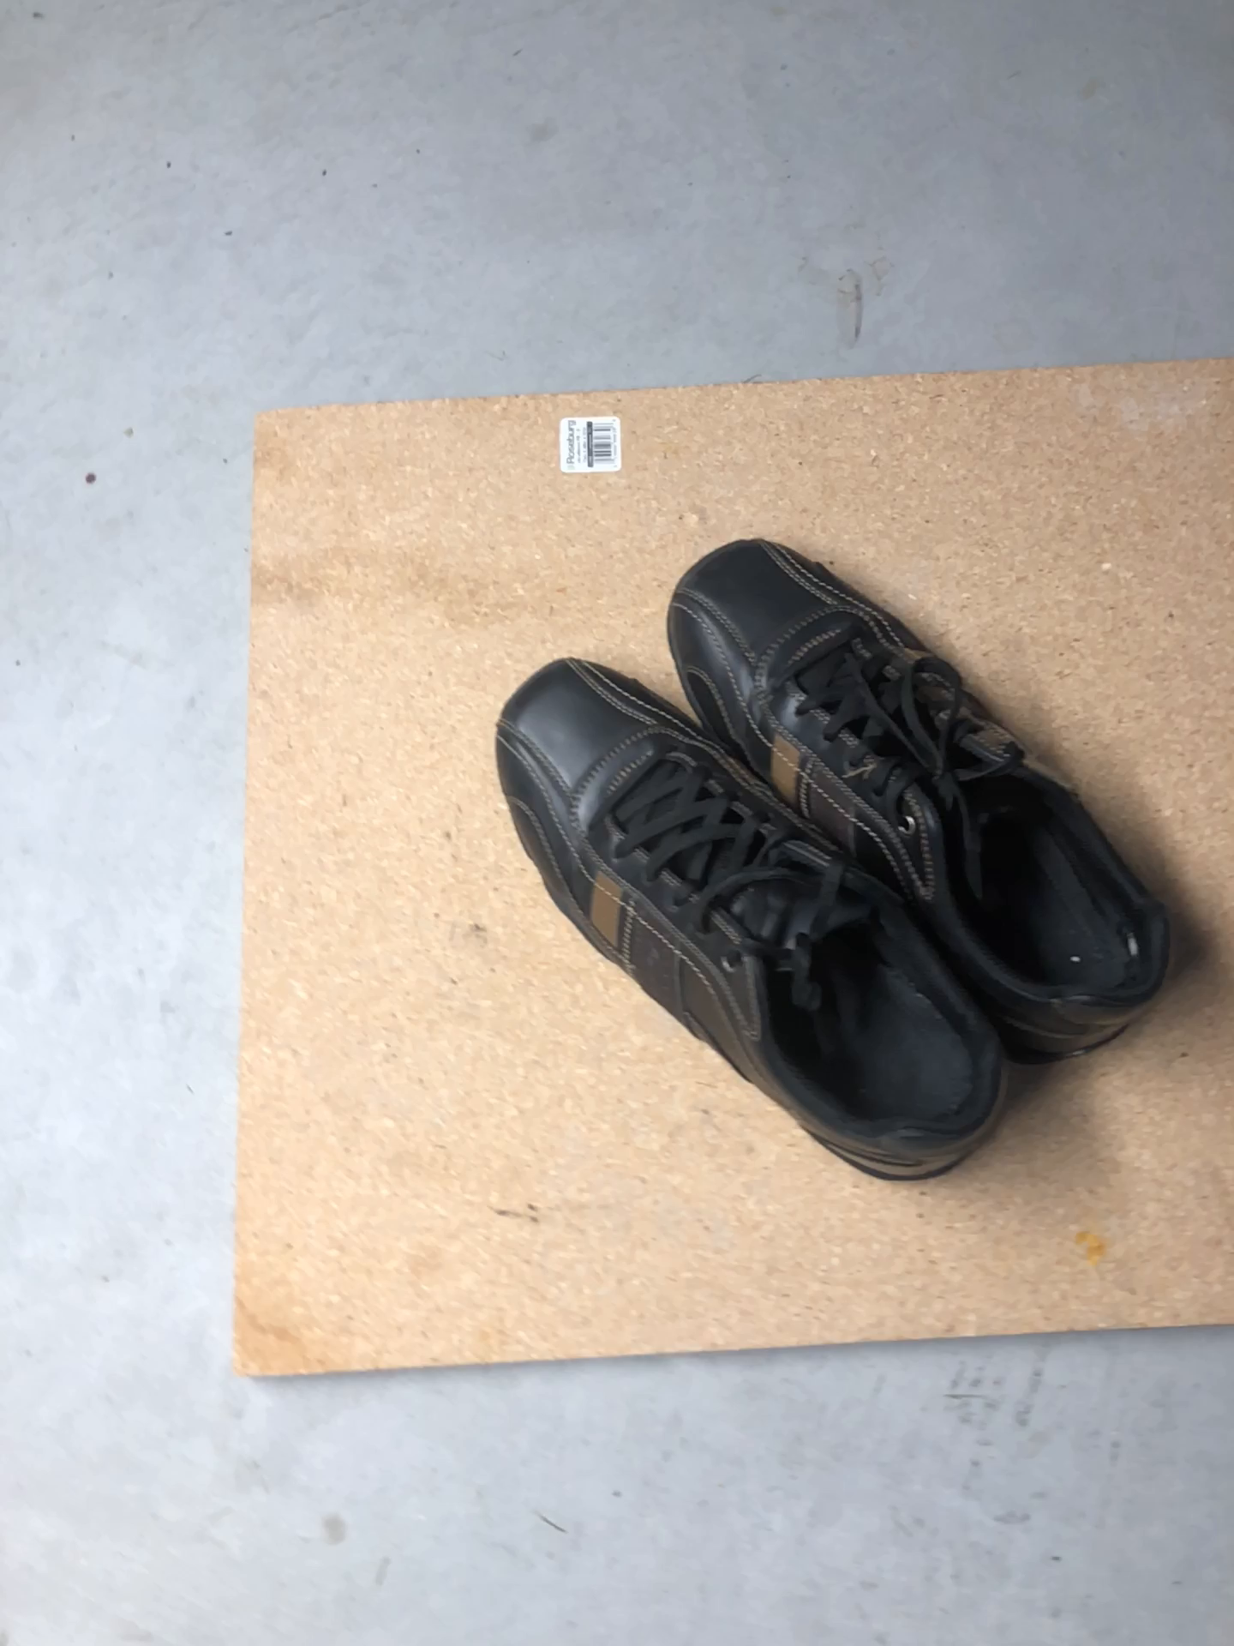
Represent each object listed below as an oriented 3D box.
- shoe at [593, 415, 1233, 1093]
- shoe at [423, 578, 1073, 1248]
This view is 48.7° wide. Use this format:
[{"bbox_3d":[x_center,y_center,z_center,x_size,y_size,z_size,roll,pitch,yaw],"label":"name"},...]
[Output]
[{"bbox_3d":[0.127,-0.027,0.601,0.100,0.100,0.290,-41,78,-2],"label":"shoe"},{"bbox_3d":[0.050,0.041,0.628,0.100,0.100,0.300,-39,74,-12],"label":"shoe"}]
